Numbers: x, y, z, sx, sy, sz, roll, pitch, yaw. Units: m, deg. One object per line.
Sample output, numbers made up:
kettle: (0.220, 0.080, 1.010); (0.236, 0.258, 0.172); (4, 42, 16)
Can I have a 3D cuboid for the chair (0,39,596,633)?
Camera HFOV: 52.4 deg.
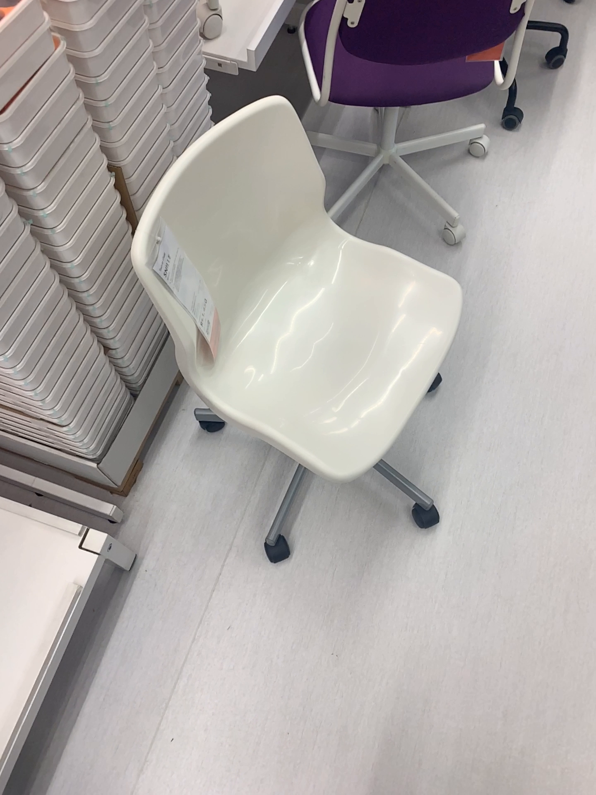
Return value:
chair: (0.067, -0.058, 1.142); (0.680, 0.689, 0.640); (26, 68, 13)
